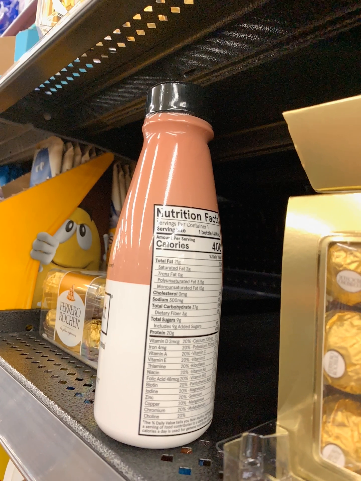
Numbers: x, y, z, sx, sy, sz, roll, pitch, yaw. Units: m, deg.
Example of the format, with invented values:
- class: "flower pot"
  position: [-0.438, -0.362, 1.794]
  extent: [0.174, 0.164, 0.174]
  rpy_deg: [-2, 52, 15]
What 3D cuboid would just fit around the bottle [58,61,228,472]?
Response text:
- class: "bottle"
  position: [-0.013, 0.010, 0.218]
  extent: [0.070, 0.190, 0.080]
  rpy_deg: [3, -1, 7]
